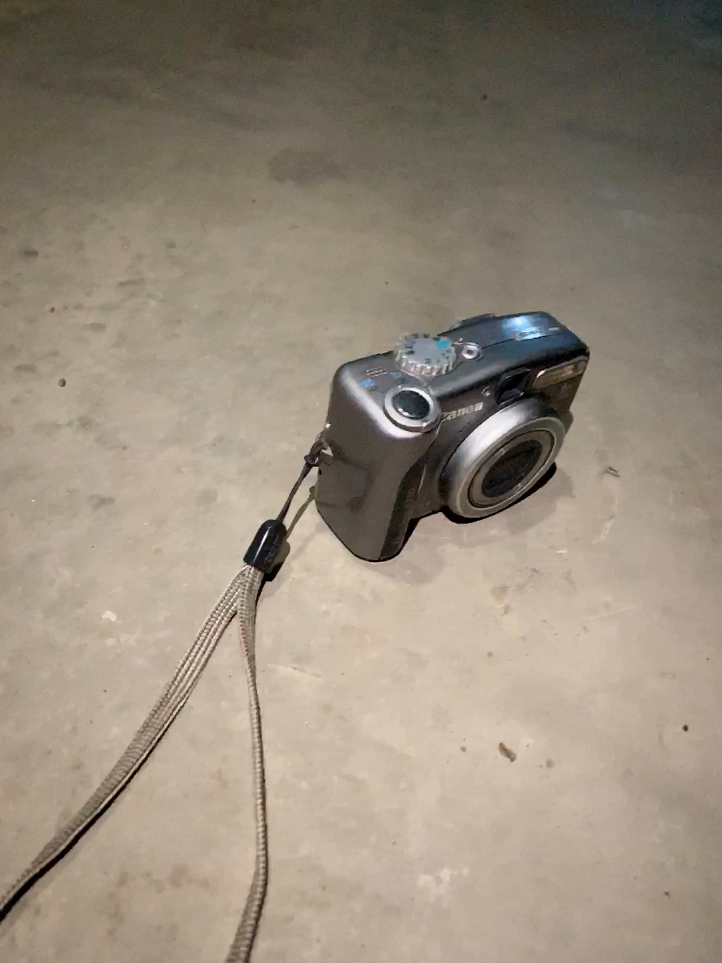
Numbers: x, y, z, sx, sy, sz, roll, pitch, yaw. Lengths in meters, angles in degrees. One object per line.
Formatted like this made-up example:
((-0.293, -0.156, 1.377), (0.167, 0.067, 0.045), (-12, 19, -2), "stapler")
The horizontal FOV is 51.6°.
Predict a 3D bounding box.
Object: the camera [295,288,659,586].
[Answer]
((0.038, -0.019, 0.259), (0.109, 0.060, 0.048), (-20, 52, -29), "camera")
